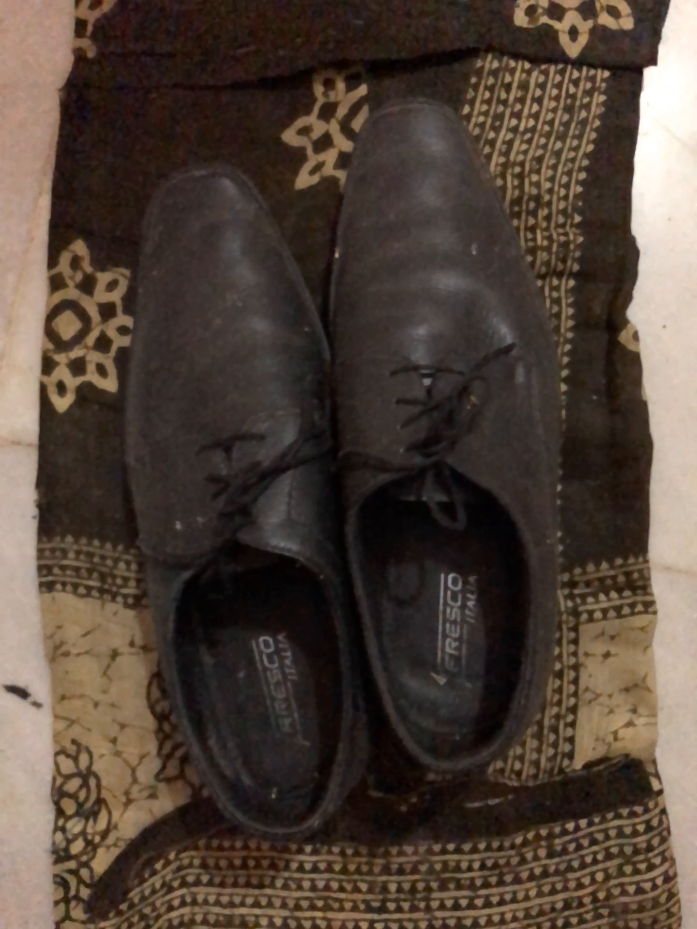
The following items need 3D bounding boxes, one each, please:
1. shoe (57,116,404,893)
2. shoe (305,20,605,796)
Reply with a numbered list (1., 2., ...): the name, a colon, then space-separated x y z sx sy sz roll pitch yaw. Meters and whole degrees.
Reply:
1. shoe: -0.054 0.016 0.388 0.110 0.070 0.340 -9 86 4
2. shoe: 0.047 -0.026 0.380 0.110 0.070 0.340 -4 87 4
